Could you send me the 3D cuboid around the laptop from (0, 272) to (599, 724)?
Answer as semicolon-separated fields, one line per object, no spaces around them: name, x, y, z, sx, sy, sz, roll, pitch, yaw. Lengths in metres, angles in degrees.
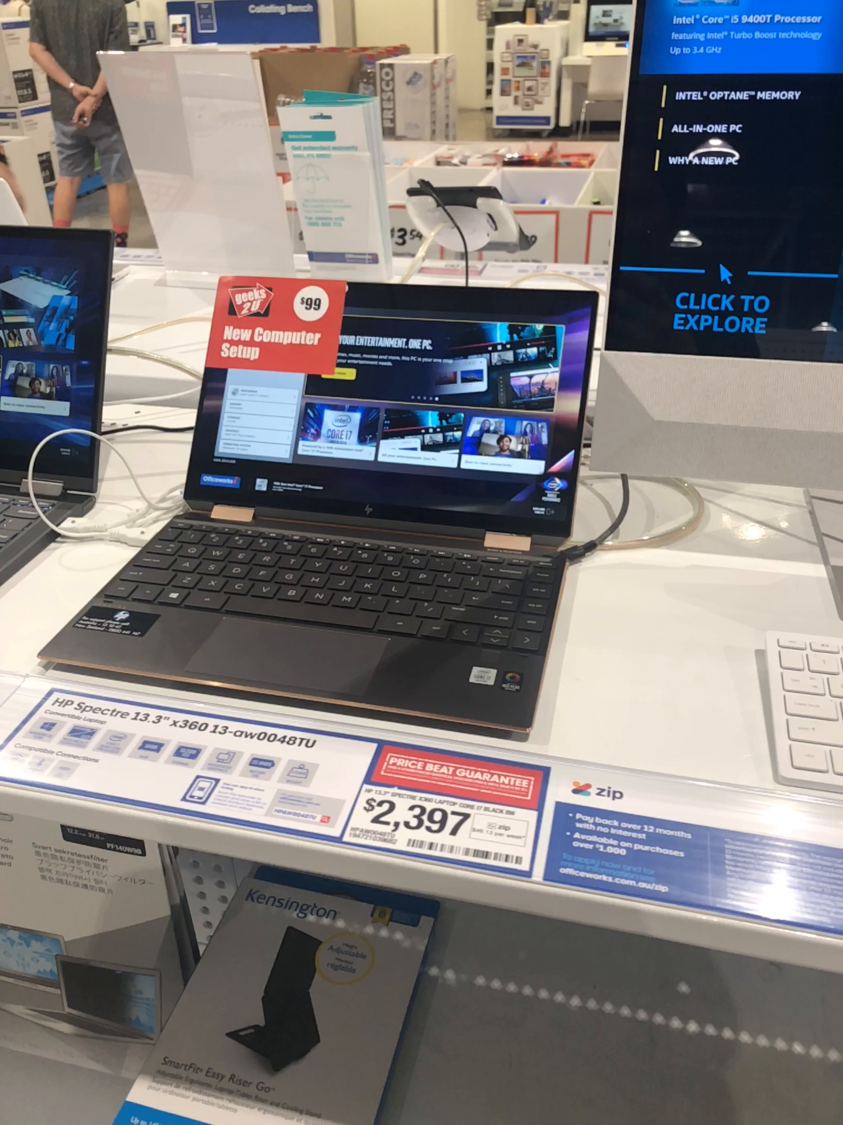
laptop;-0.052;-0.074;0.621;0.298;0.147;0.315;6;32;14
